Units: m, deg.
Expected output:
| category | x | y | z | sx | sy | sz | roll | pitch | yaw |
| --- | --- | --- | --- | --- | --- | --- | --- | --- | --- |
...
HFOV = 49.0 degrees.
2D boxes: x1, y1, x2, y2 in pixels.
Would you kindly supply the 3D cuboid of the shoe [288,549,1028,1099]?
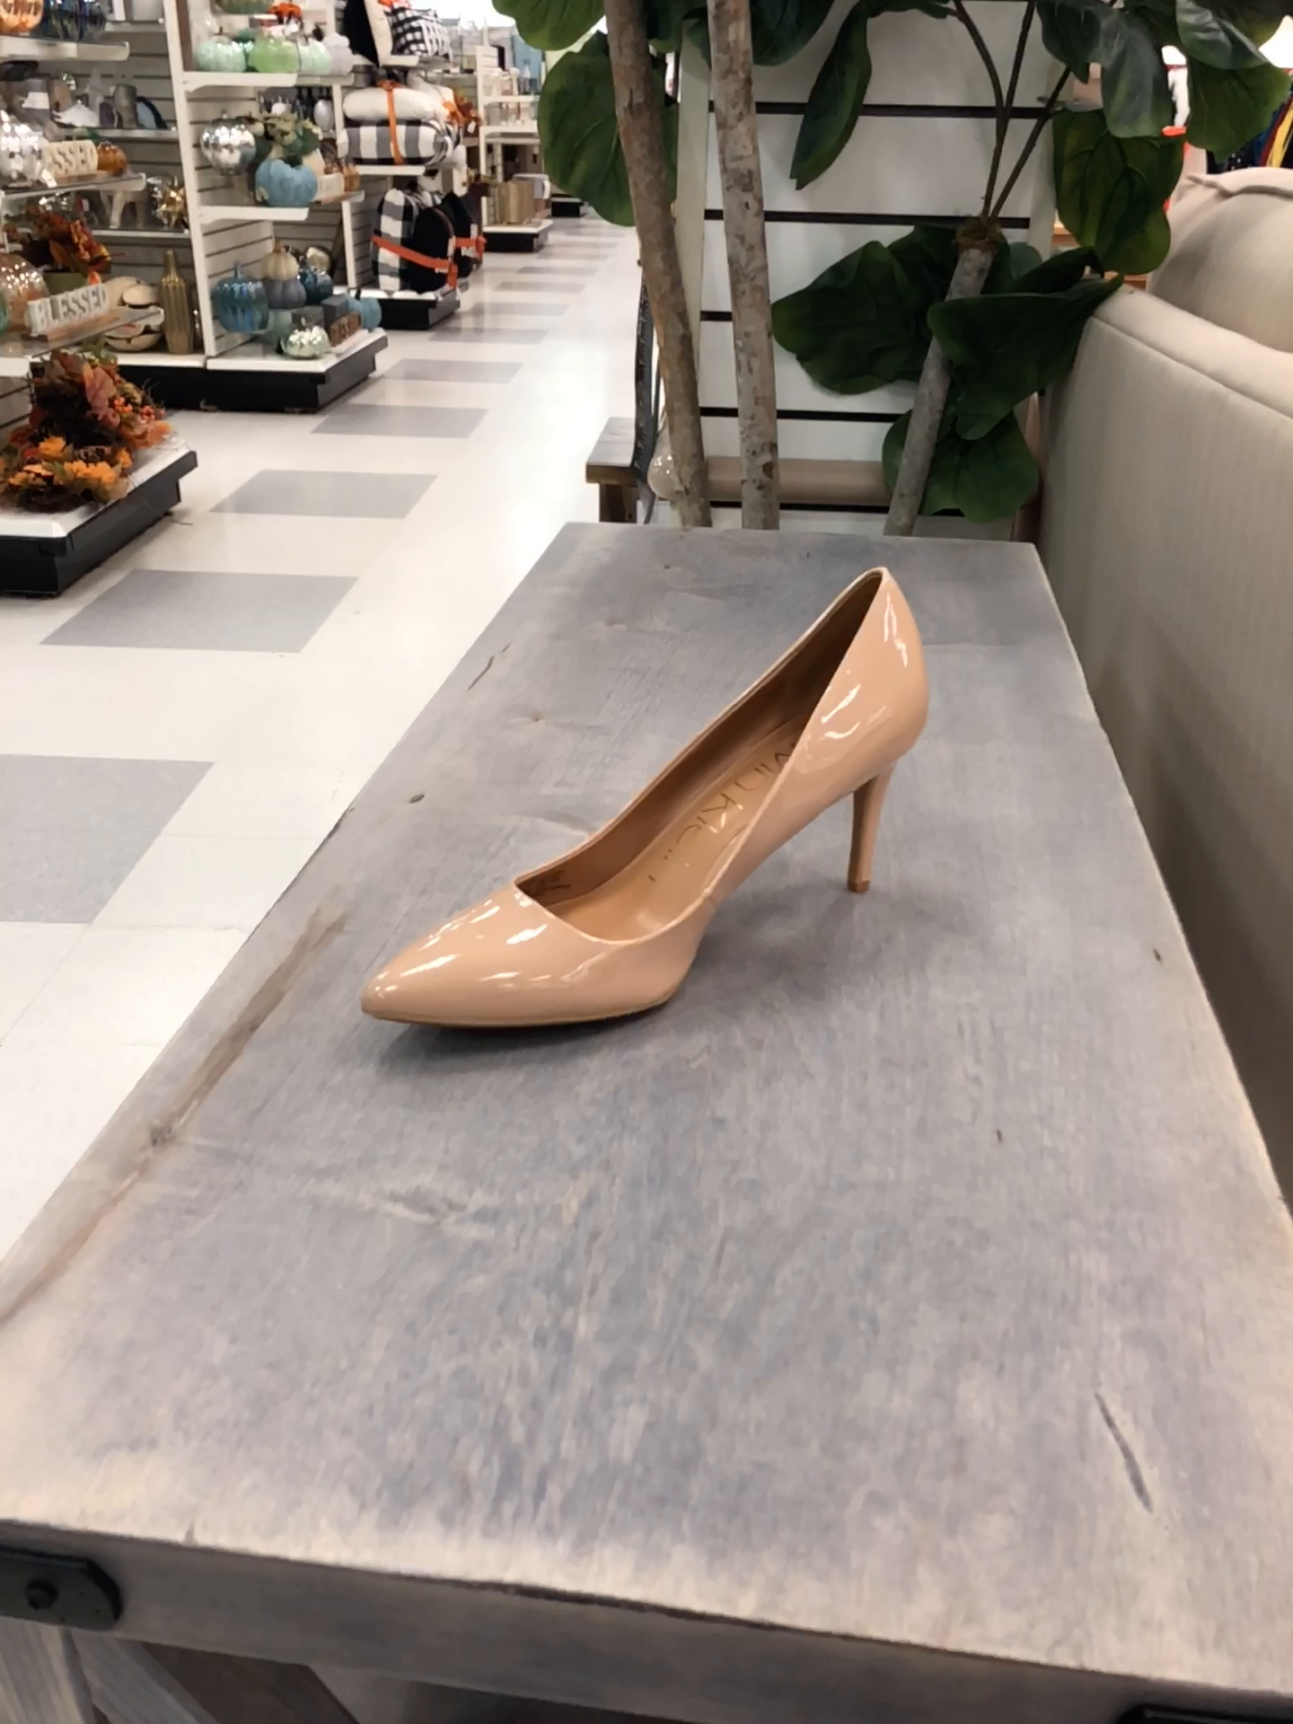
| category | x | y | z | sx | sy | sz | roll | pitch | yaw |
| --- | --- | --- | --- | --- | --- | --- | --- | --- | --- |
| shoe | 0.012 | -0.029 | 0.554 | 0.268 | 0.129 | 0.096 | -17 | 32 | -31 |
